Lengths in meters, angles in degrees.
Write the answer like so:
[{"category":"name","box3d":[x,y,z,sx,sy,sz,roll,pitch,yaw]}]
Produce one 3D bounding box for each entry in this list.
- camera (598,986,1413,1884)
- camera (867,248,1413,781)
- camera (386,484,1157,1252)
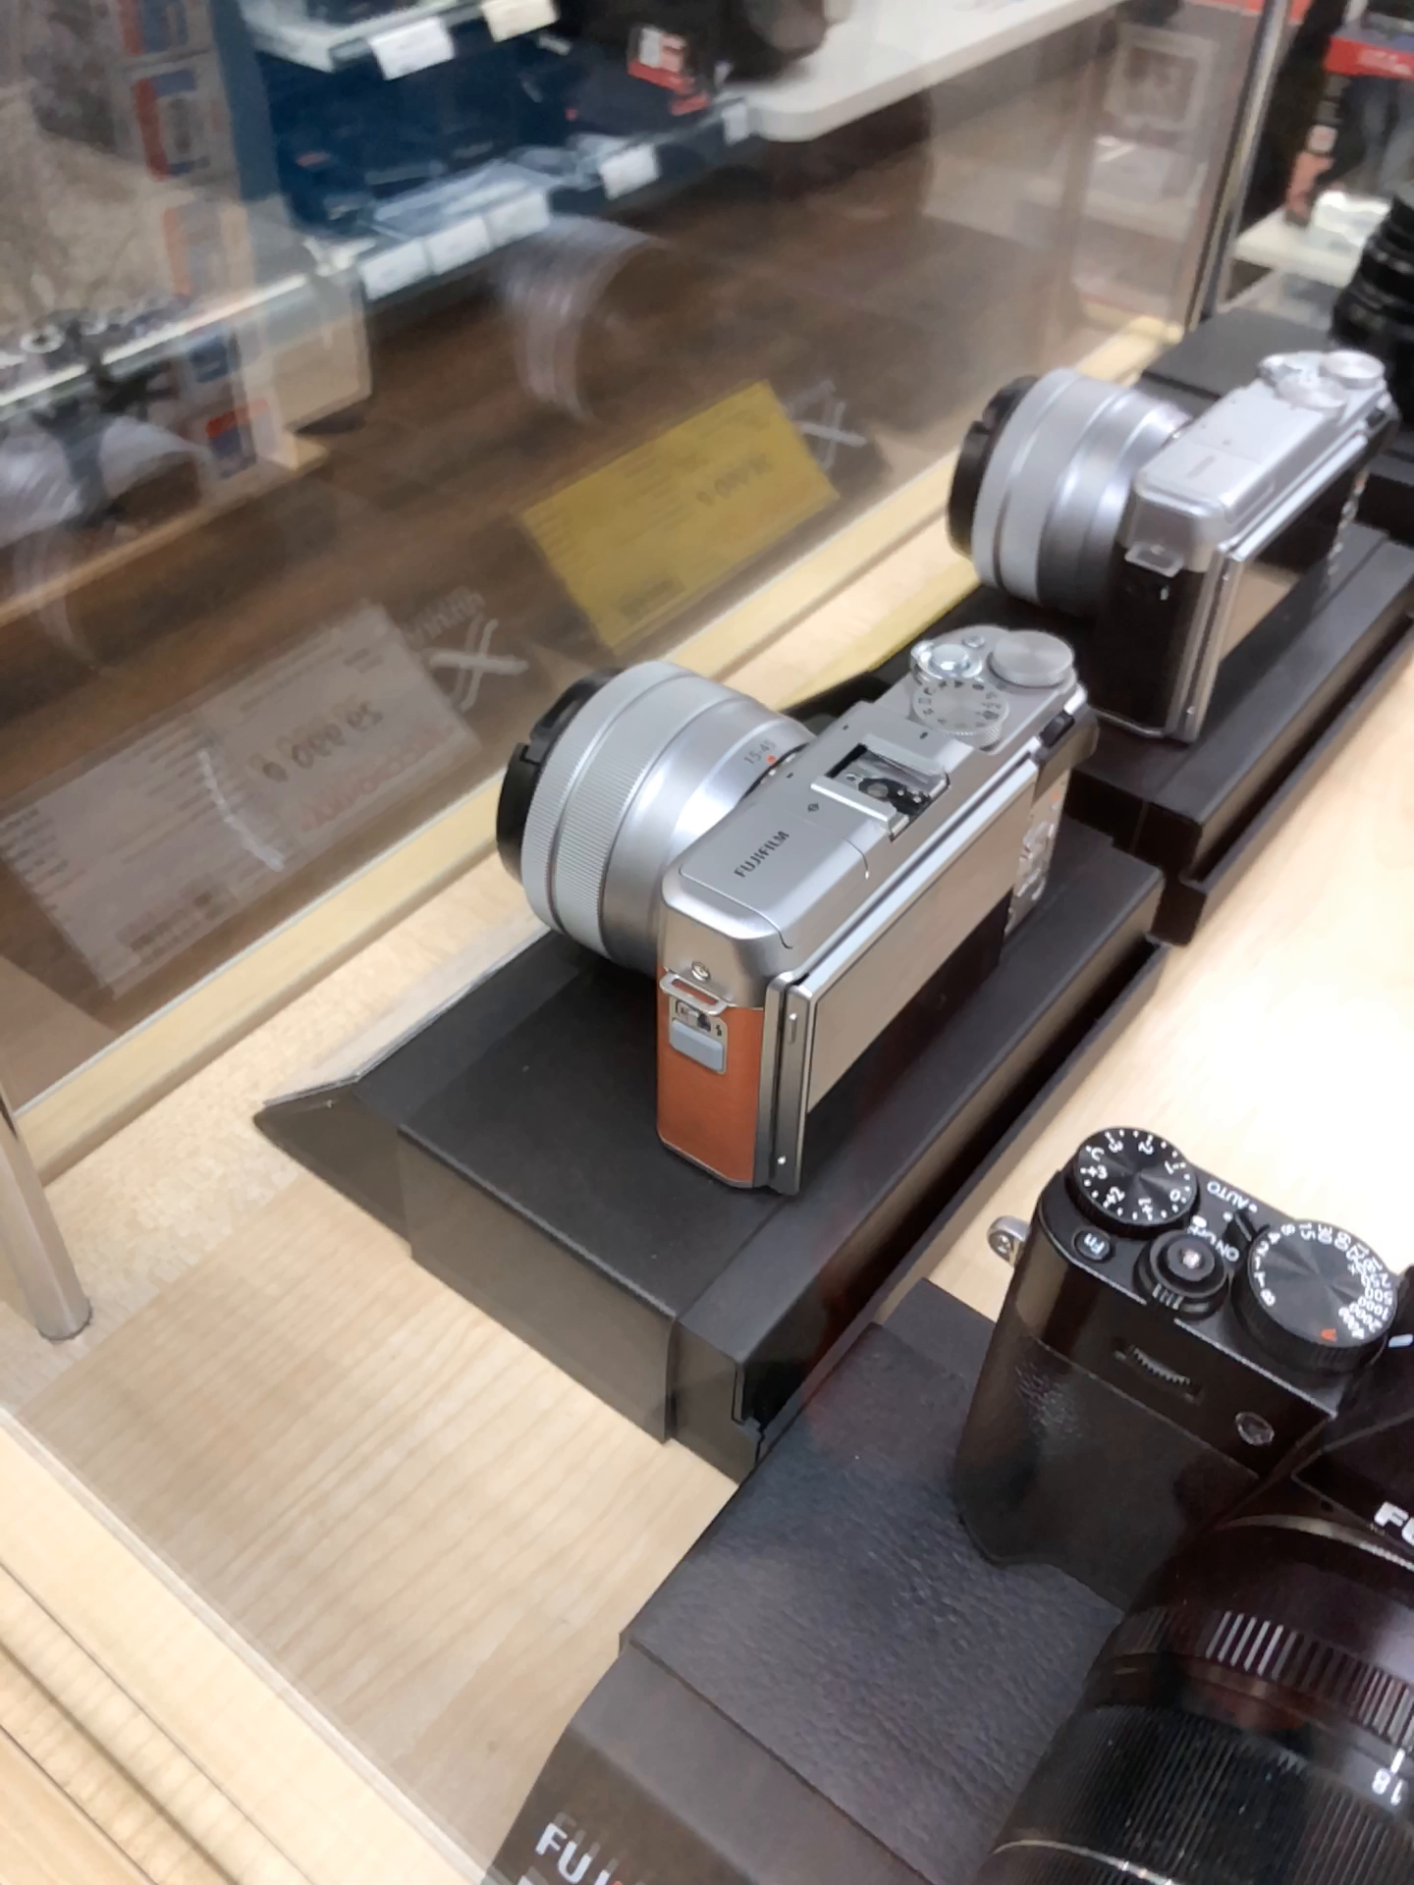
[{"category":"camera","box3d":[0.073,0.098,0.189,0.131,0.090,0.113,29,49,24]},{"category":"camera","box3d":[0.118,-0.120,0.423,0.093,0.075,0.121,28,49,24]},{"category":"camera","box3d":[0.015,-0.023,0.321,0.093,0.075,0.121,28,49,24]}]
